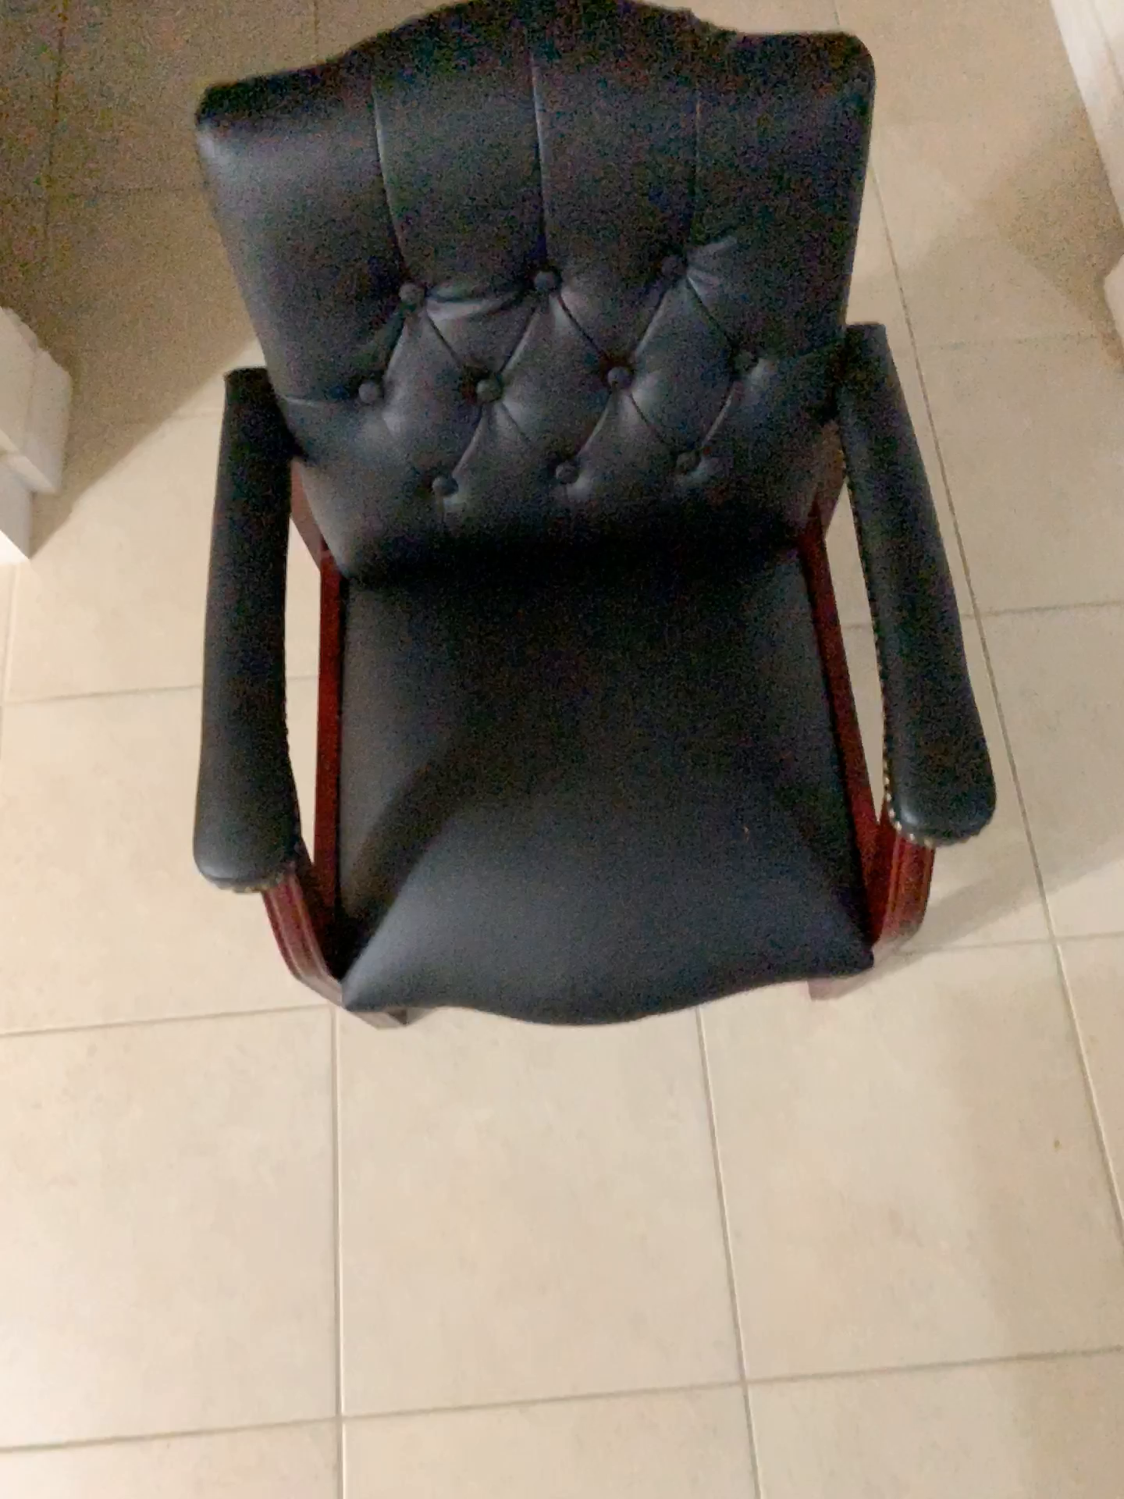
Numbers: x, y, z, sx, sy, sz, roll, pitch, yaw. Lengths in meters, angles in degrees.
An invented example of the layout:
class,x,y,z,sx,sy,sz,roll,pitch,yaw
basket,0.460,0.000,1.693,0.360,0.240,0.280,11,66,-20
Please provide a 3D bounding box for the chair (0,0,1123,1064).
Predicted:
class,x,y,z,sx,sy,sz,roll,pitch,yaw
chair,0.005,-0.095,1.107,0.631,0.913,0.657,-5,70,0
